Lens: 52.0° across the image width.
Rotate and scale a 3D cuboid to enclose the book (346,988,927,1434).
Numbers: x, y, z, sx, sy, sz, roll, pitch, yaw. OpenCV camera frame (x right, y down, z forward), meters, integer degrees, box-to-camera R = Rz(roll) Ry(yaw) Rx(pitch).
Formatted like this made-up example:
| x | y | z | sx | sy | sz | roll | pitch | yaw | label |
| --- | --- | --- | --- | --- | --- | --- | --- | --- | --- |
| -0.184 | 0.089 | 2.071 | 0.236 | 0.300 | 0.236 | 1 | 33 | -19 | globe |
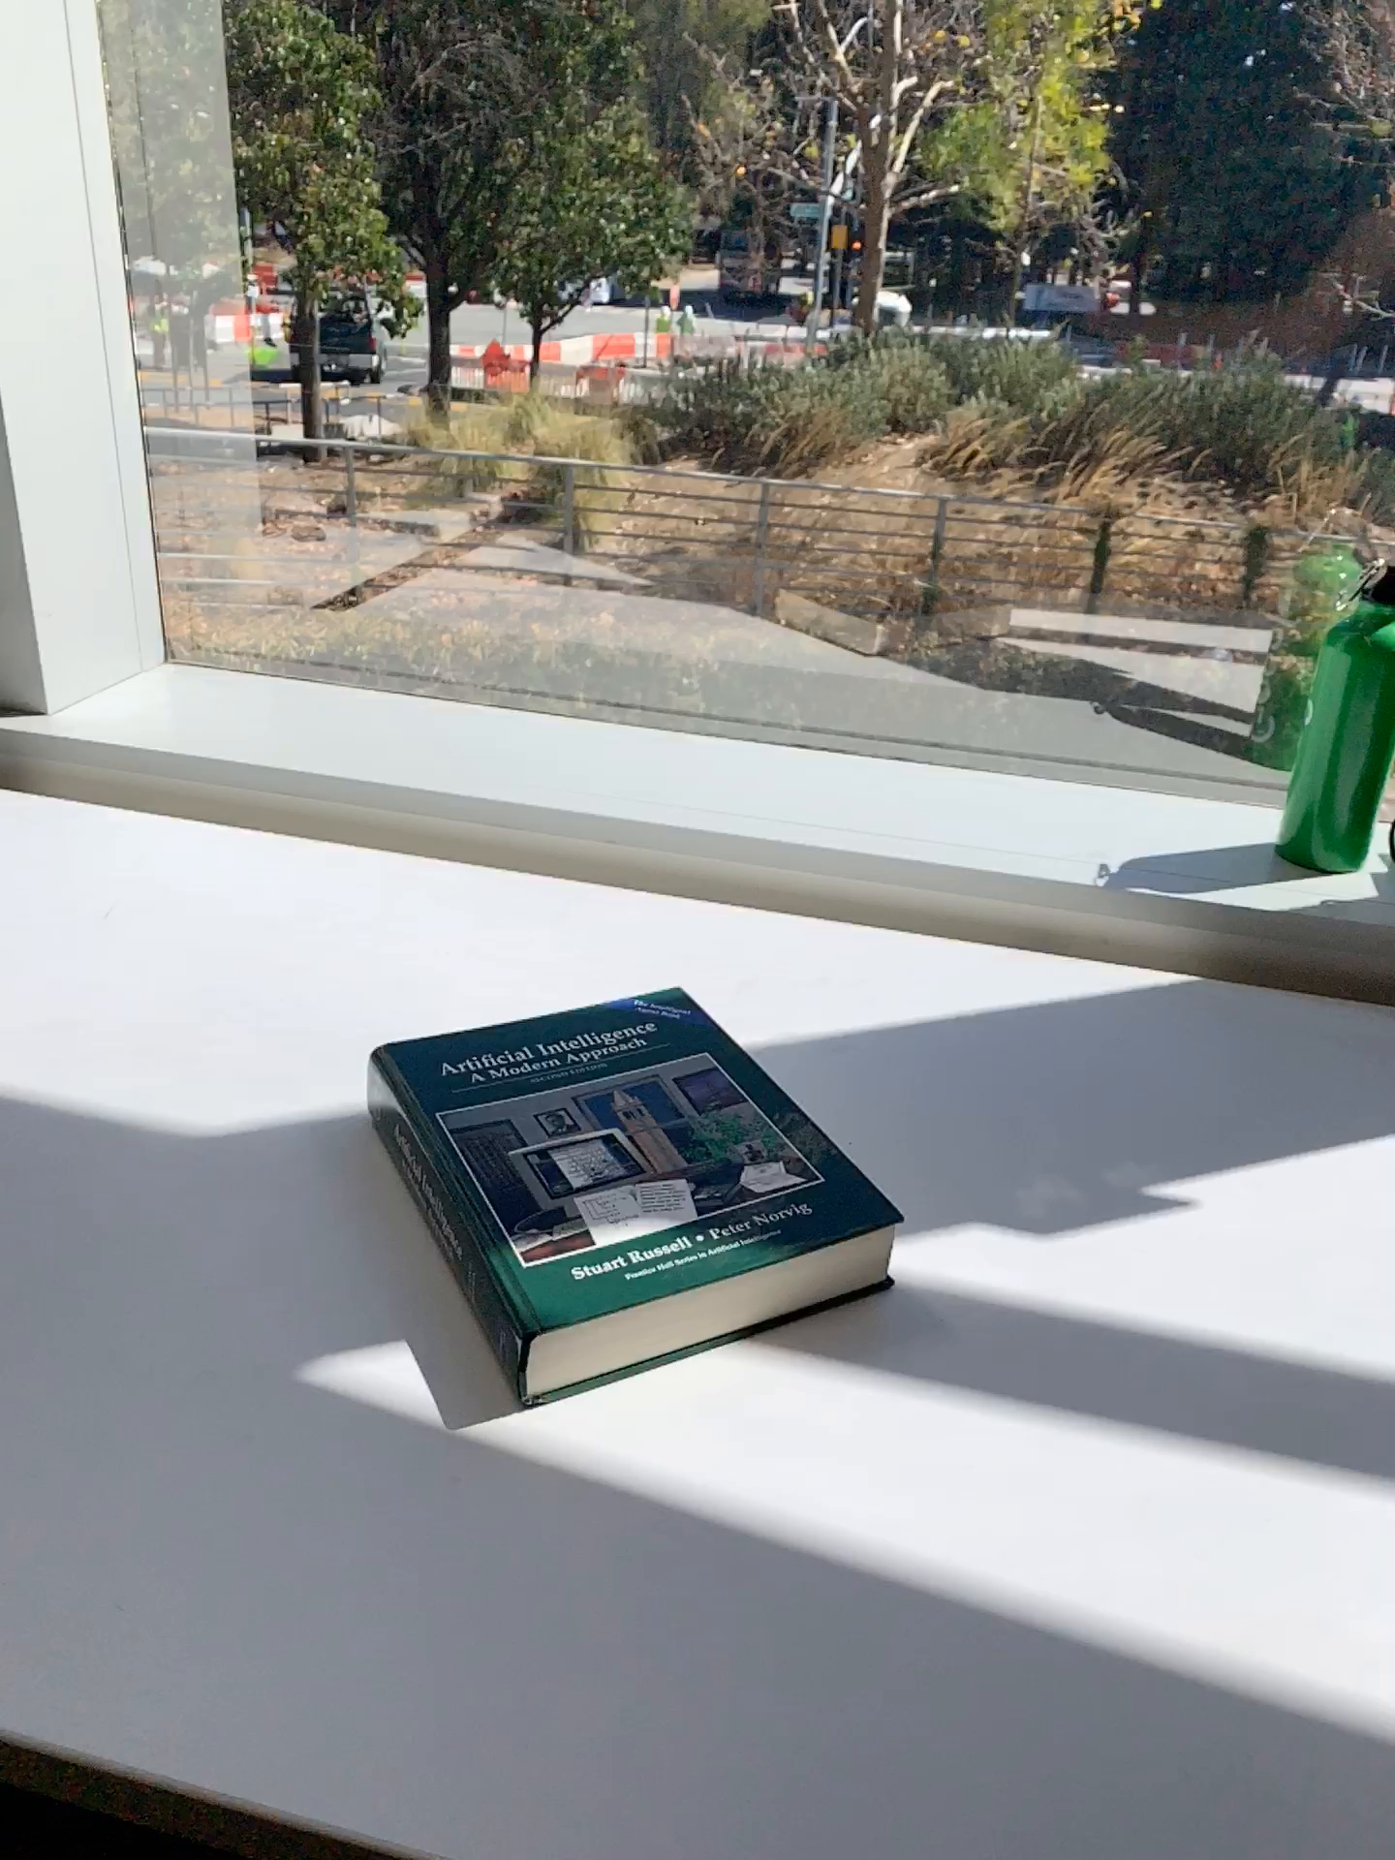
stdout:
| x | y | z | sx | sy | sz | roll | pitch | yaw | label |
| --- | --- | --- | --- | --- | --- | --- | --- | --- | --- |
| -0.046 | 0.134 | 0.794 | 0.230 | 0.050 | 0.262 | -10 | 30 | -25 | book |
